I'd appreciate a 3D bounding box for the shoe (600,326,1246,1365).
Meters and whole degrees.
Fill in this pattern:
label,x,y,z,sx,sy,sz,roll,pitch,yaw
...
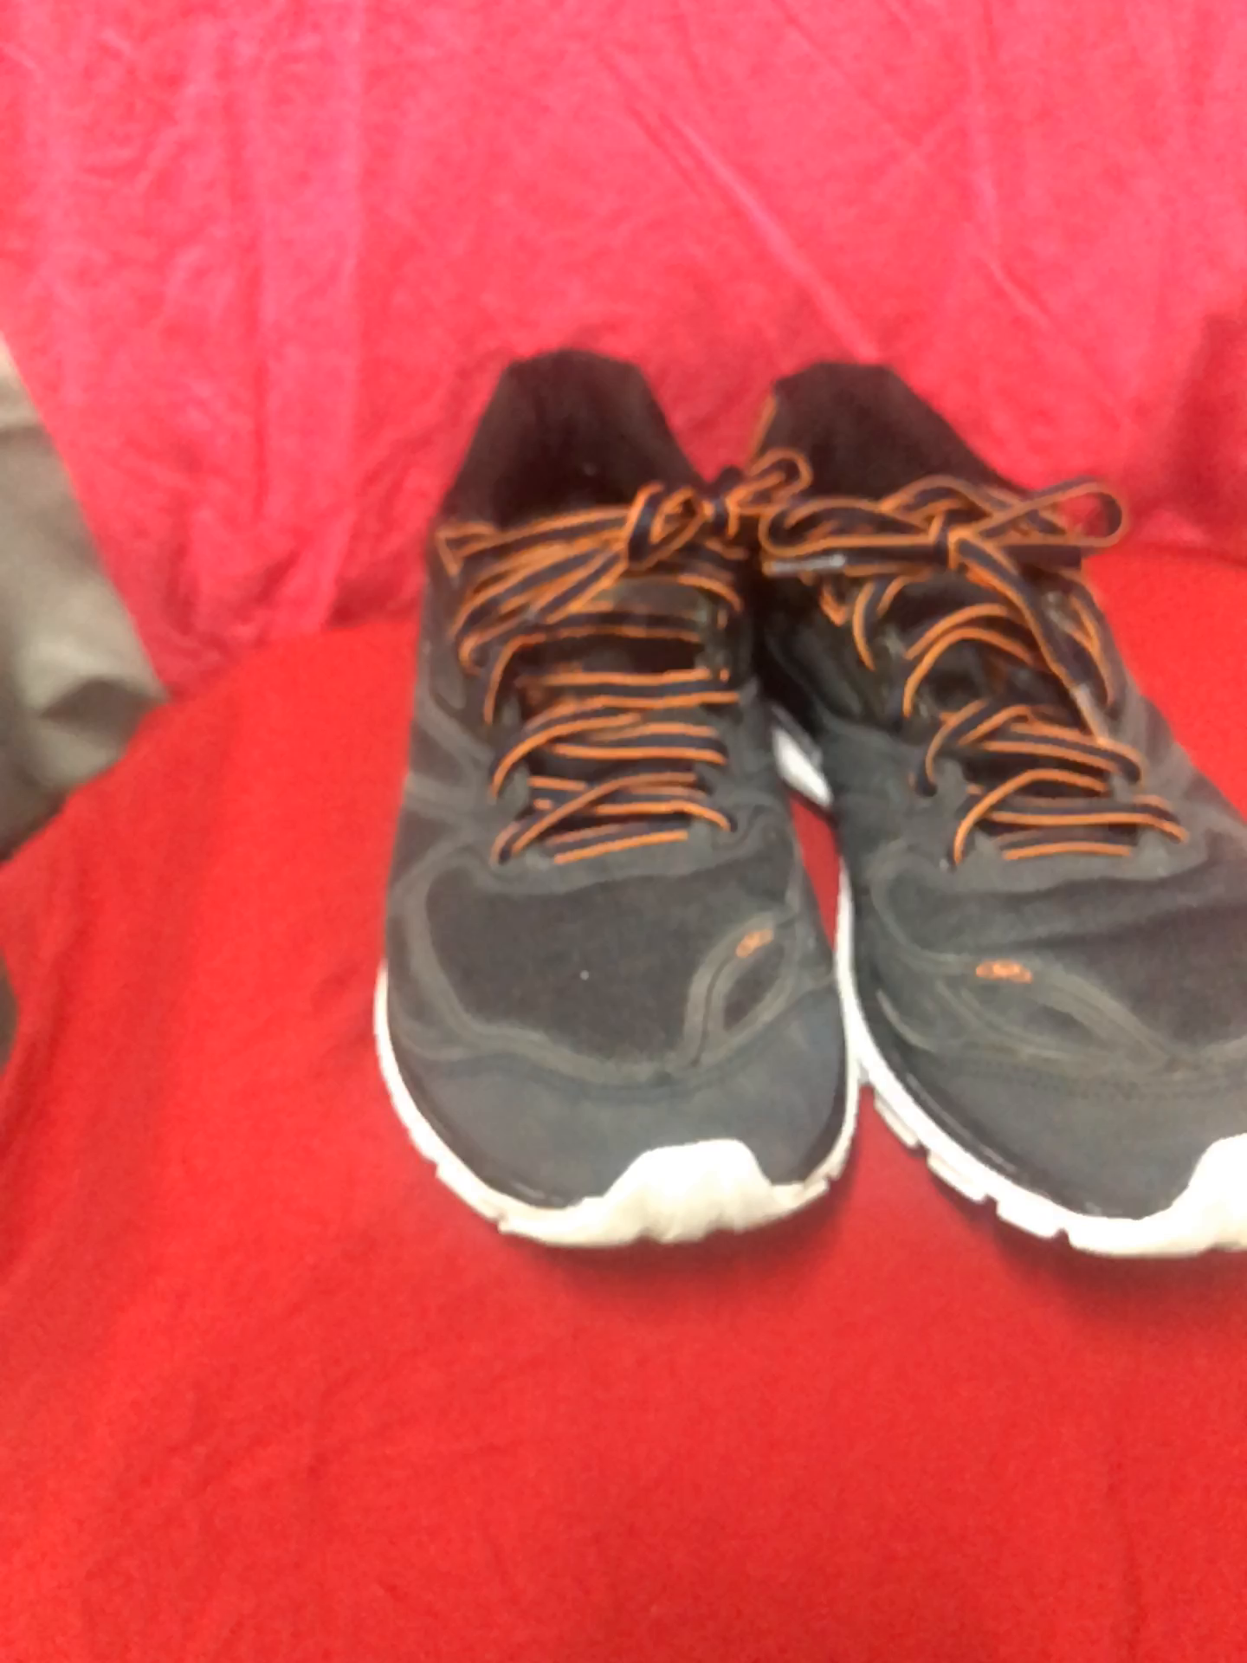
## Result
label,x,y,z,sx,sy,sz,roll,pitch,yaw
shoe,0.077,-0.028,0.361,0.110,0.099,0.282,-9,39,-7

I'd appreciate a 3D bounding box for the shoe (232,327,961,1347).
label,x,y,z,sx,sy,sz,roll,pitch,yaw
shoe,-0.011,-0.029,0.349,0.110,0.089,0.282,-5,38,-1
